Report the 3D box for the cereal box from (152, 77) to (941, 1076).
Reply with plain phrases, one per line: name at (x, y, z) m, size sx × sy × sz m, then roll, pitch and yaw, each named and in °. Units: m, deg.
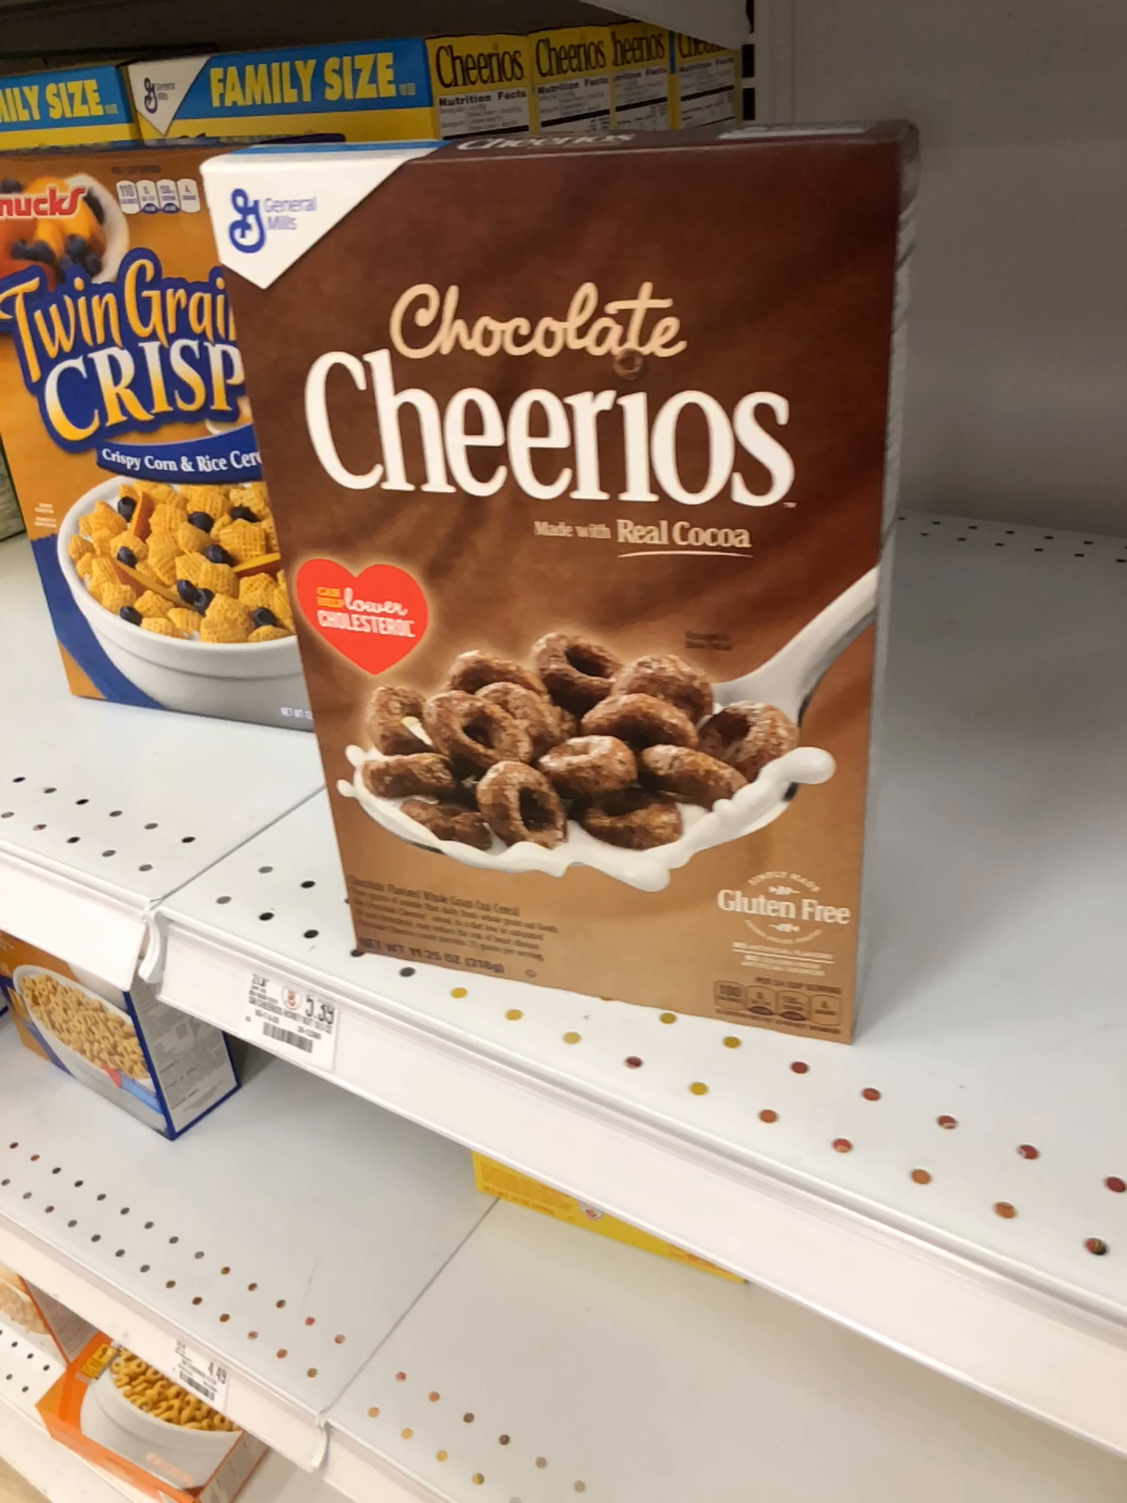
cereal box at (0.006, -0.042, 0.401) m, size 0.200 × 0.289 × 0.060 m, roll 7°, pitch 34°, yaw 22°
